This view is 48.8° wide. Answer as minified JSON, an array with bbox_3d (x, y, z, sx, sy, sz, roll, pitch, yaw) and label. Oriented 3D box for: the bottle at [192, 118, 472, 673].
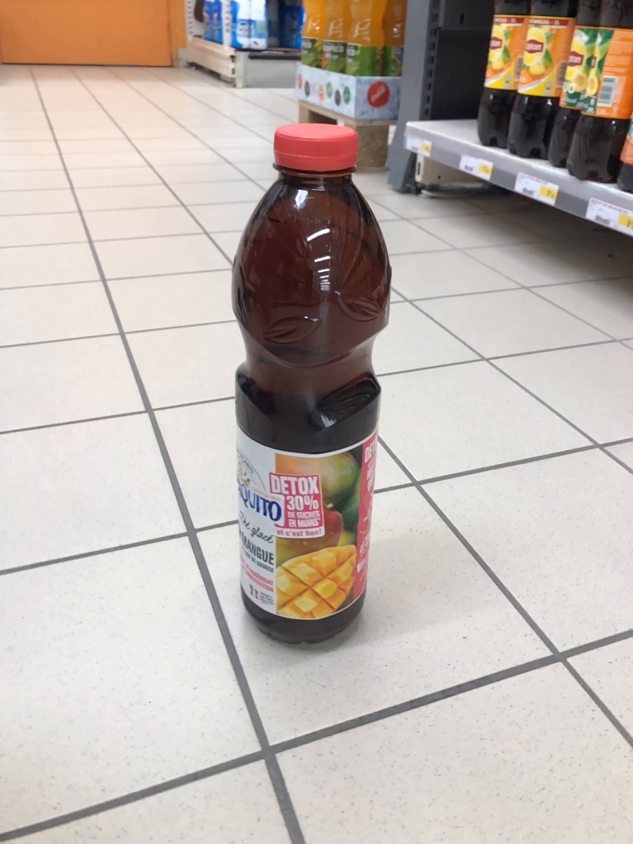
[{"bbox_3d":[0.000,-0.010,0.401,0.090,0.288,0.100,-19,36,-32],"label":"bottle"}]
